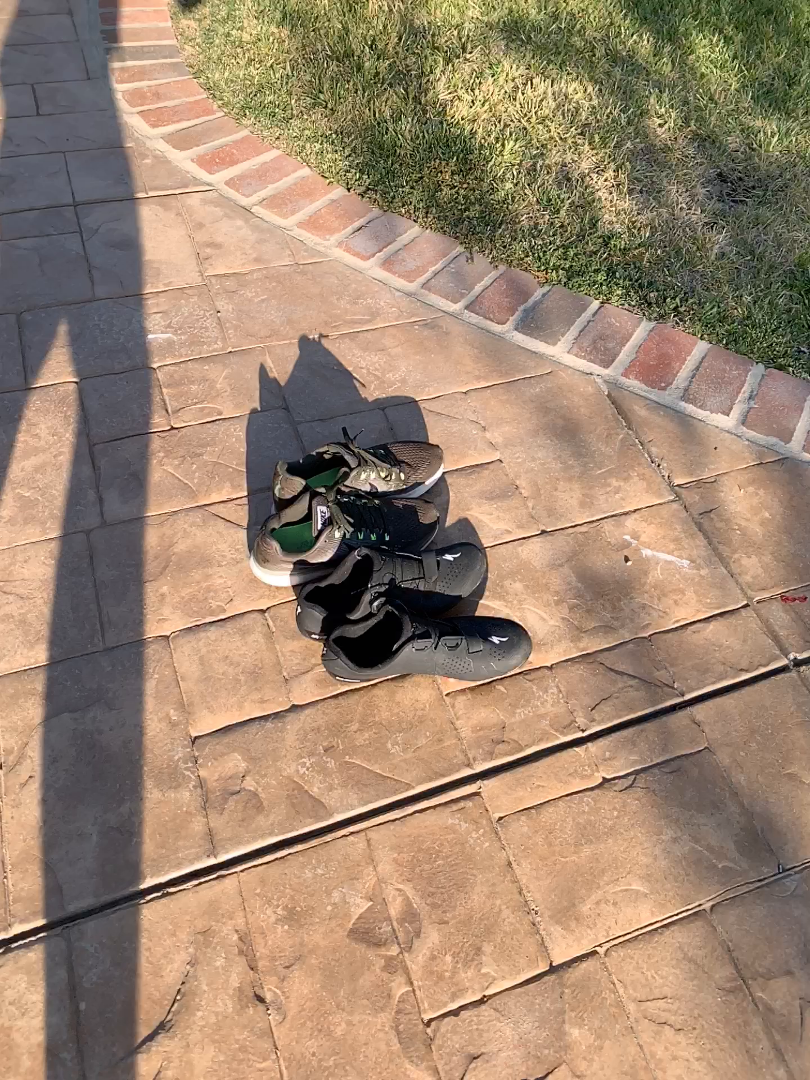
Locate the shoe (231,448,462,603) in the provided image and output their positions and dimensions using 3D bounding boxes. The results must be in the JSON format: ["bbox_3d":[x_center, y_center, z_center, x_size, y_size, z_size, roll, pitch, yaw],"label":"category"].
[{"bbox_3d":[-0.082,-0.023,1.155,0.290,0.100,0.120,-14,55,-14],"label":"shoe"}]

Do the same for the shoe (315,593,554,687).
[{"bbox_3d":[0.033,0.126,1.049,0.290,0.060,0.100,0,53,-4],"label":"shoe"}]

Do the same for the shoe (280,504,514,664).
[{"bbox_3d":[-0.011,0.054,1.086,0.280,0.070,0.110,-18,56,-17],"label":"shoe"}]

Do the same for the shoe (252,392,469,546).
[{"bbox_3d":[-0.066,-0.109,1.229,0.290,0.100,0.120,-18,56,-17],"label":"shoe"}]
